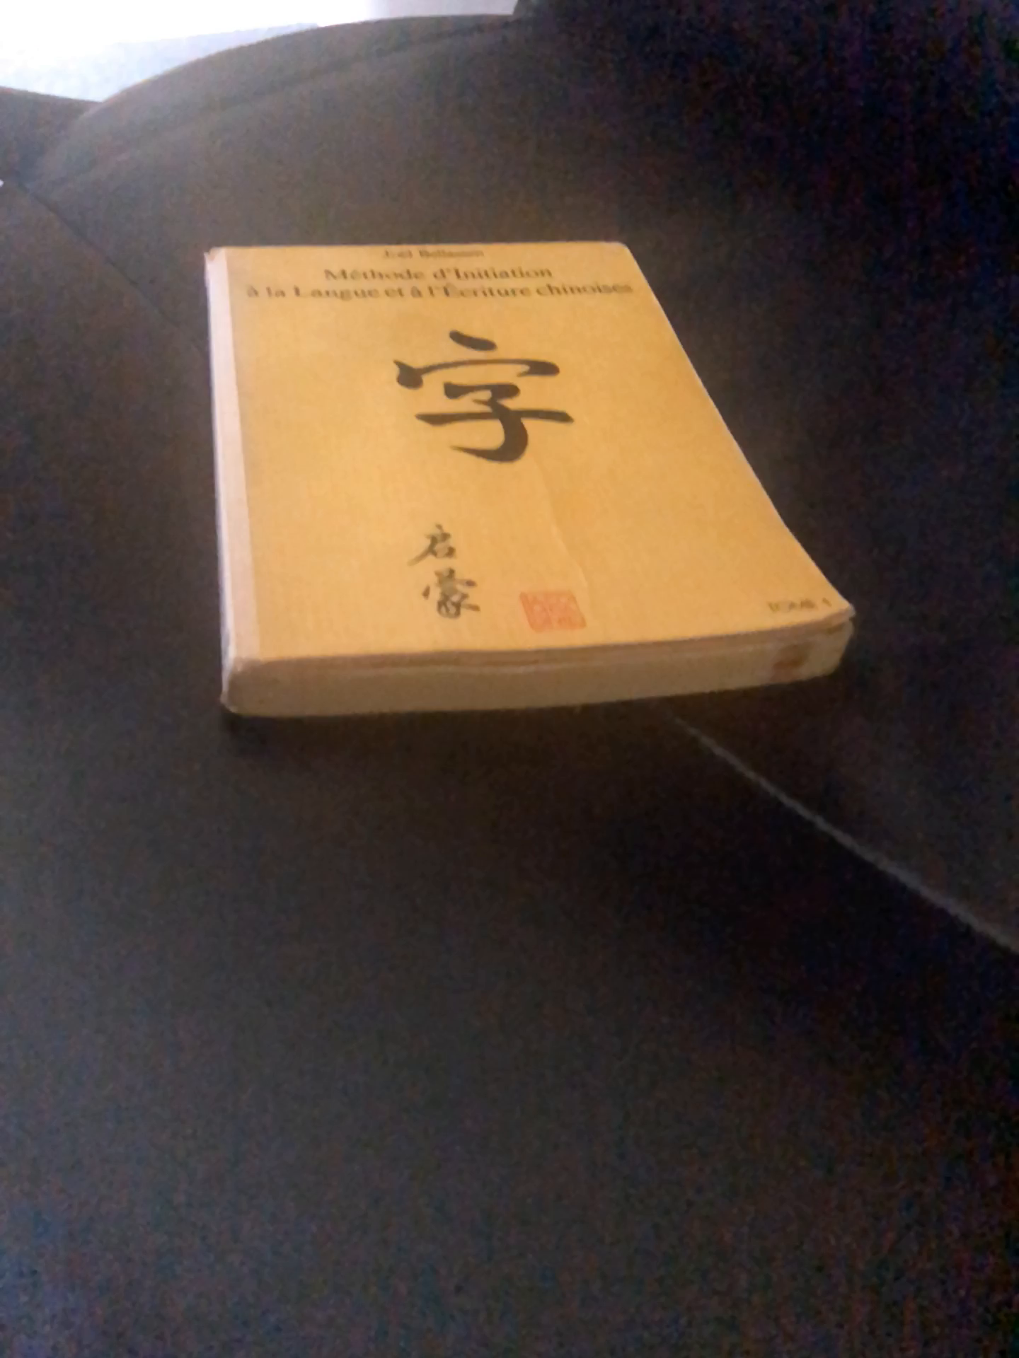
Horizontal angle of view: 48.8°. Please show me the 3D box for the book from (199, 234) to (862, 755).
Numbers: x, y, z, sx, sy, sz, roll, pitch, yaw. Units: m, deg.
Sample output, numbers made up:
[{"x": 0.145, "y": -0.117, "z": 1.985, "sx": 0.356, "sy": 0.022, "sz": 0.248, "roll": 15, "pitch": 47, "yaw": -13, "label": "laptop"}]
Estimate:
[{"x": -0.012, "y": -0.075, "z": 0.342, "sx": 0.152, "sy": 0.028, "sz": 0.221, "roll": -6, "pitch": 43, "yaw": -9, "label": "book"}]
